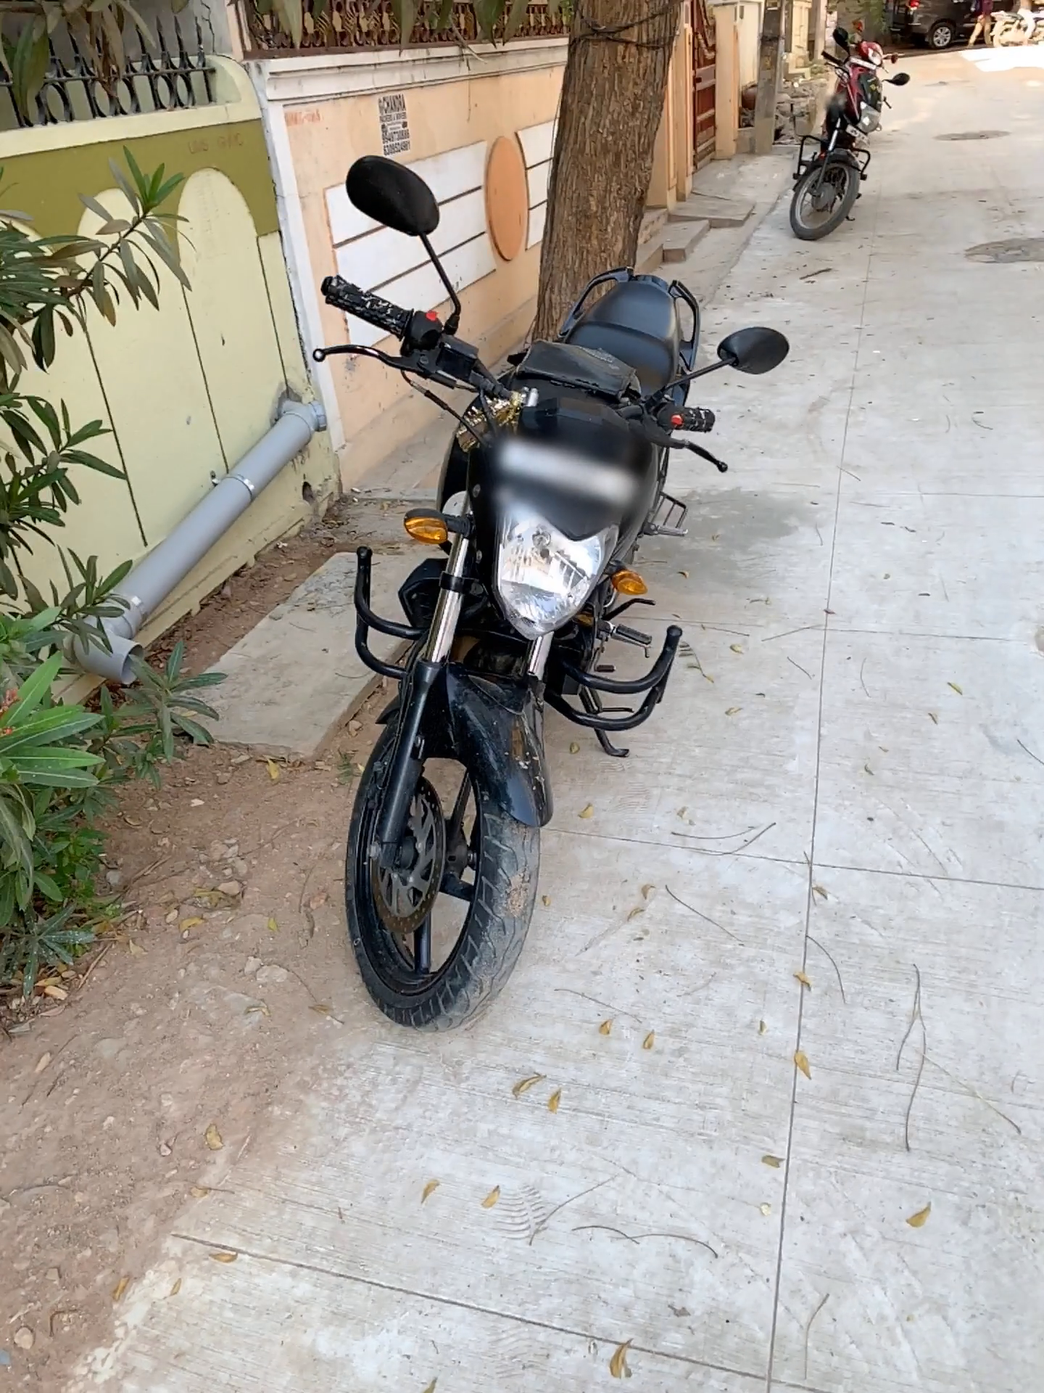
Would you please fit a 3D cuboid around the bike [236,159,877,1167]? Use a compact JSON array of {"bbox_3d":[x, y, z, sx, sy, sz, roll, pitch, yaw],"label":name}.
[{"bbox_3d":[0.210,-0.272,2.129,0.747,1.076,1.690,1,35,13],"label":"bike"}]
